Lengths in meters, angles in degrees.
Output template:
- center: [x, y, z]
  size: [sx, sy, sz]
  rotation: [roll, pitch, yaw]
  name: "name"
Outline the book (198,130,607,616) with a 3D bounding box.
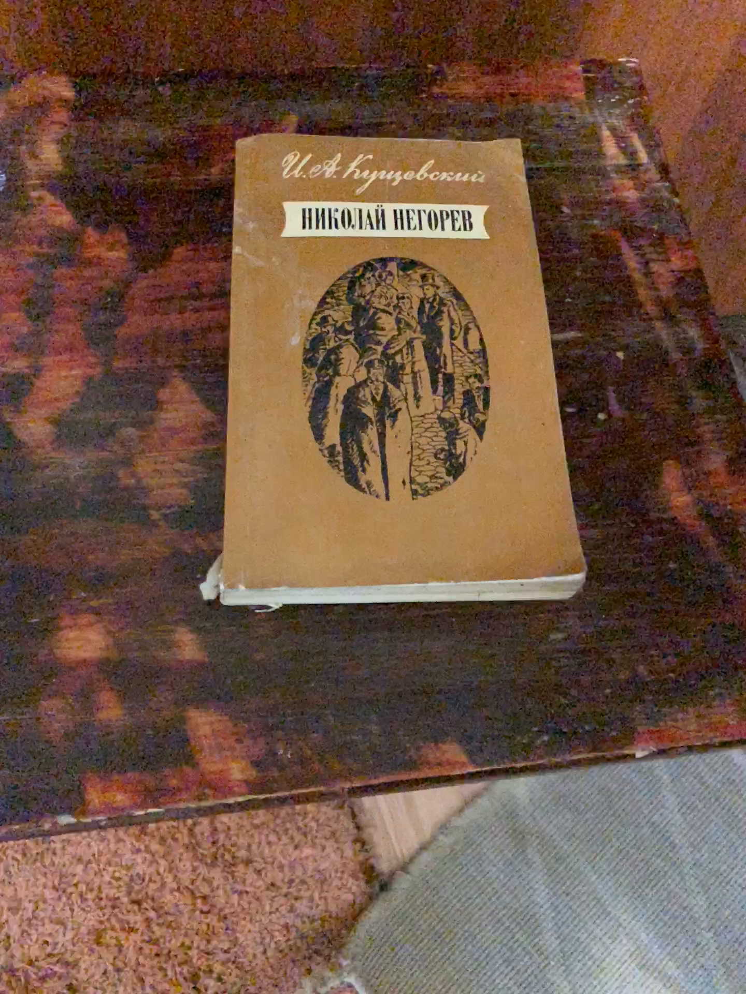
- center: [0.005, -0.055, 0.290]
  size: [0.130, 0.024, 0.191]
  rotation: [-2, 69, -3]
  name: "book"
